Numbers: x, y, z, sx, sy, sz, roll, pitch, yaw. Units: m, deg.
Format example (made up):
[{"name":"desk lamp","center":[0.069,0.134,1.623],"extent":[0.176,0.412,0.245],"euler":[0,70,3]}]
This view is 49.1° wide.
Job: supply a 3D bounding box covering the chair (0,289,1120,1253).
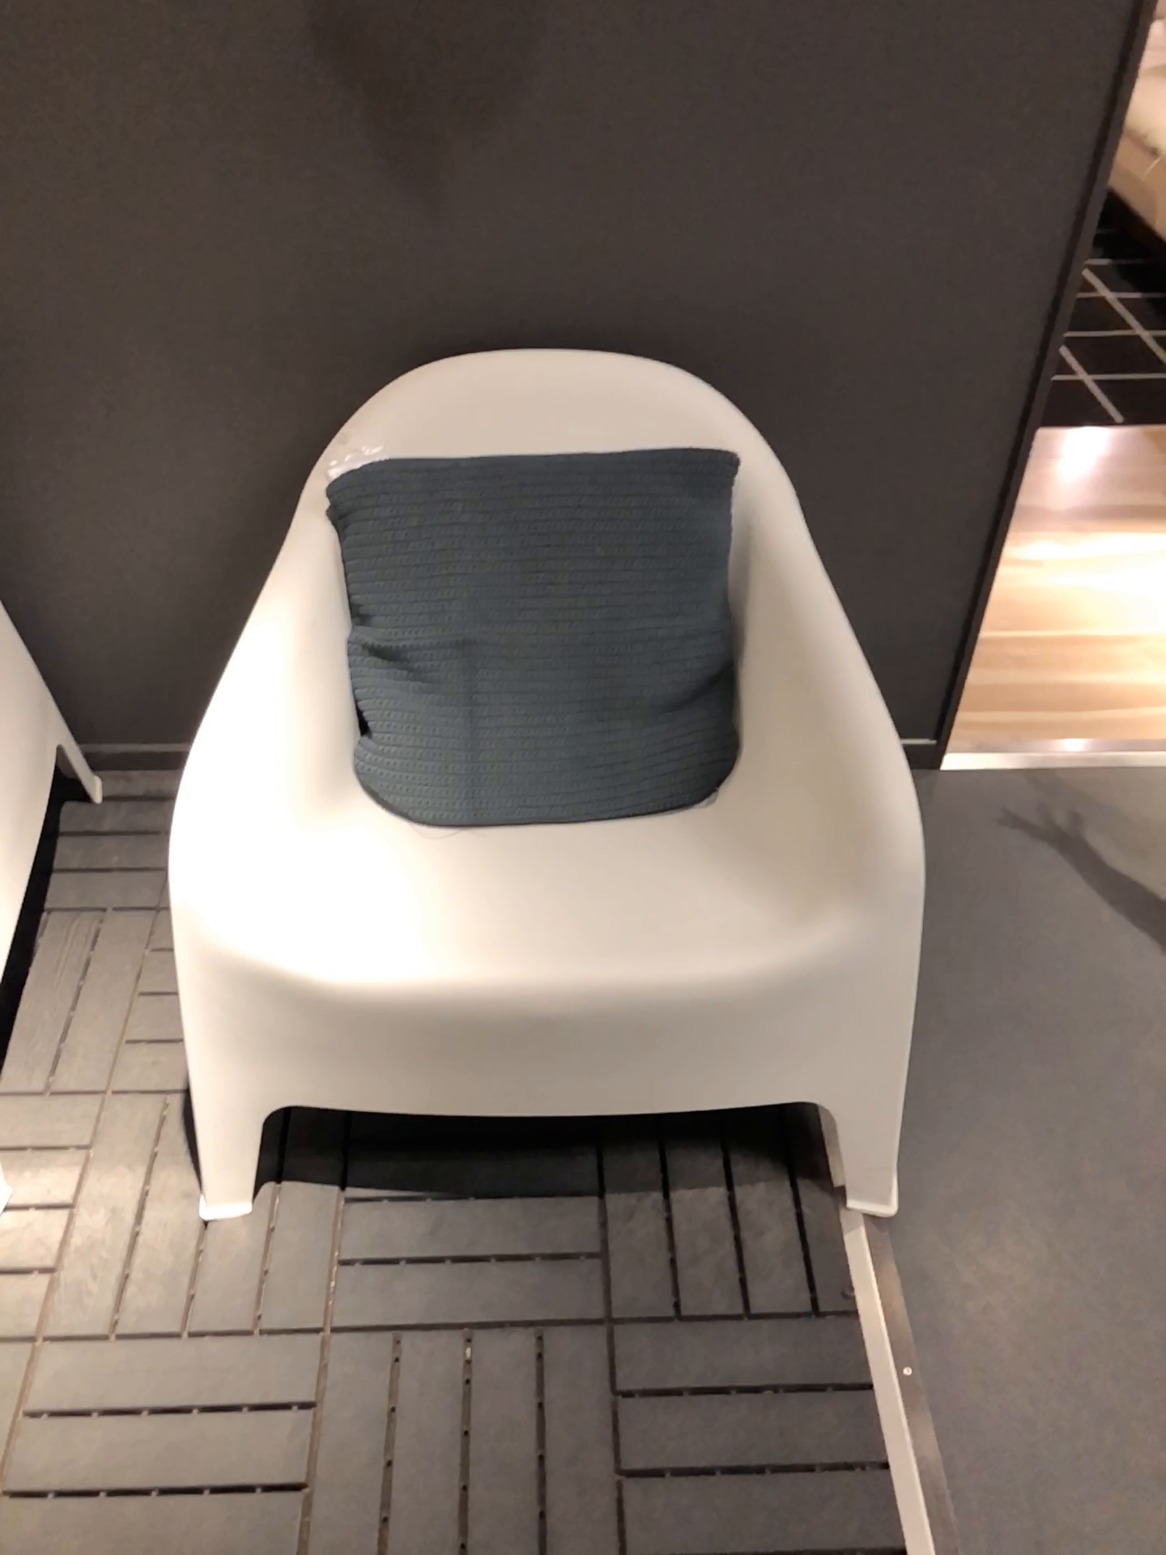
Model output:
[{"name":"chair","center":[-0.047,-0.033,1.476],"extent":[0.830,0.764,0.786],"euler":[-1,42,-4]}]
